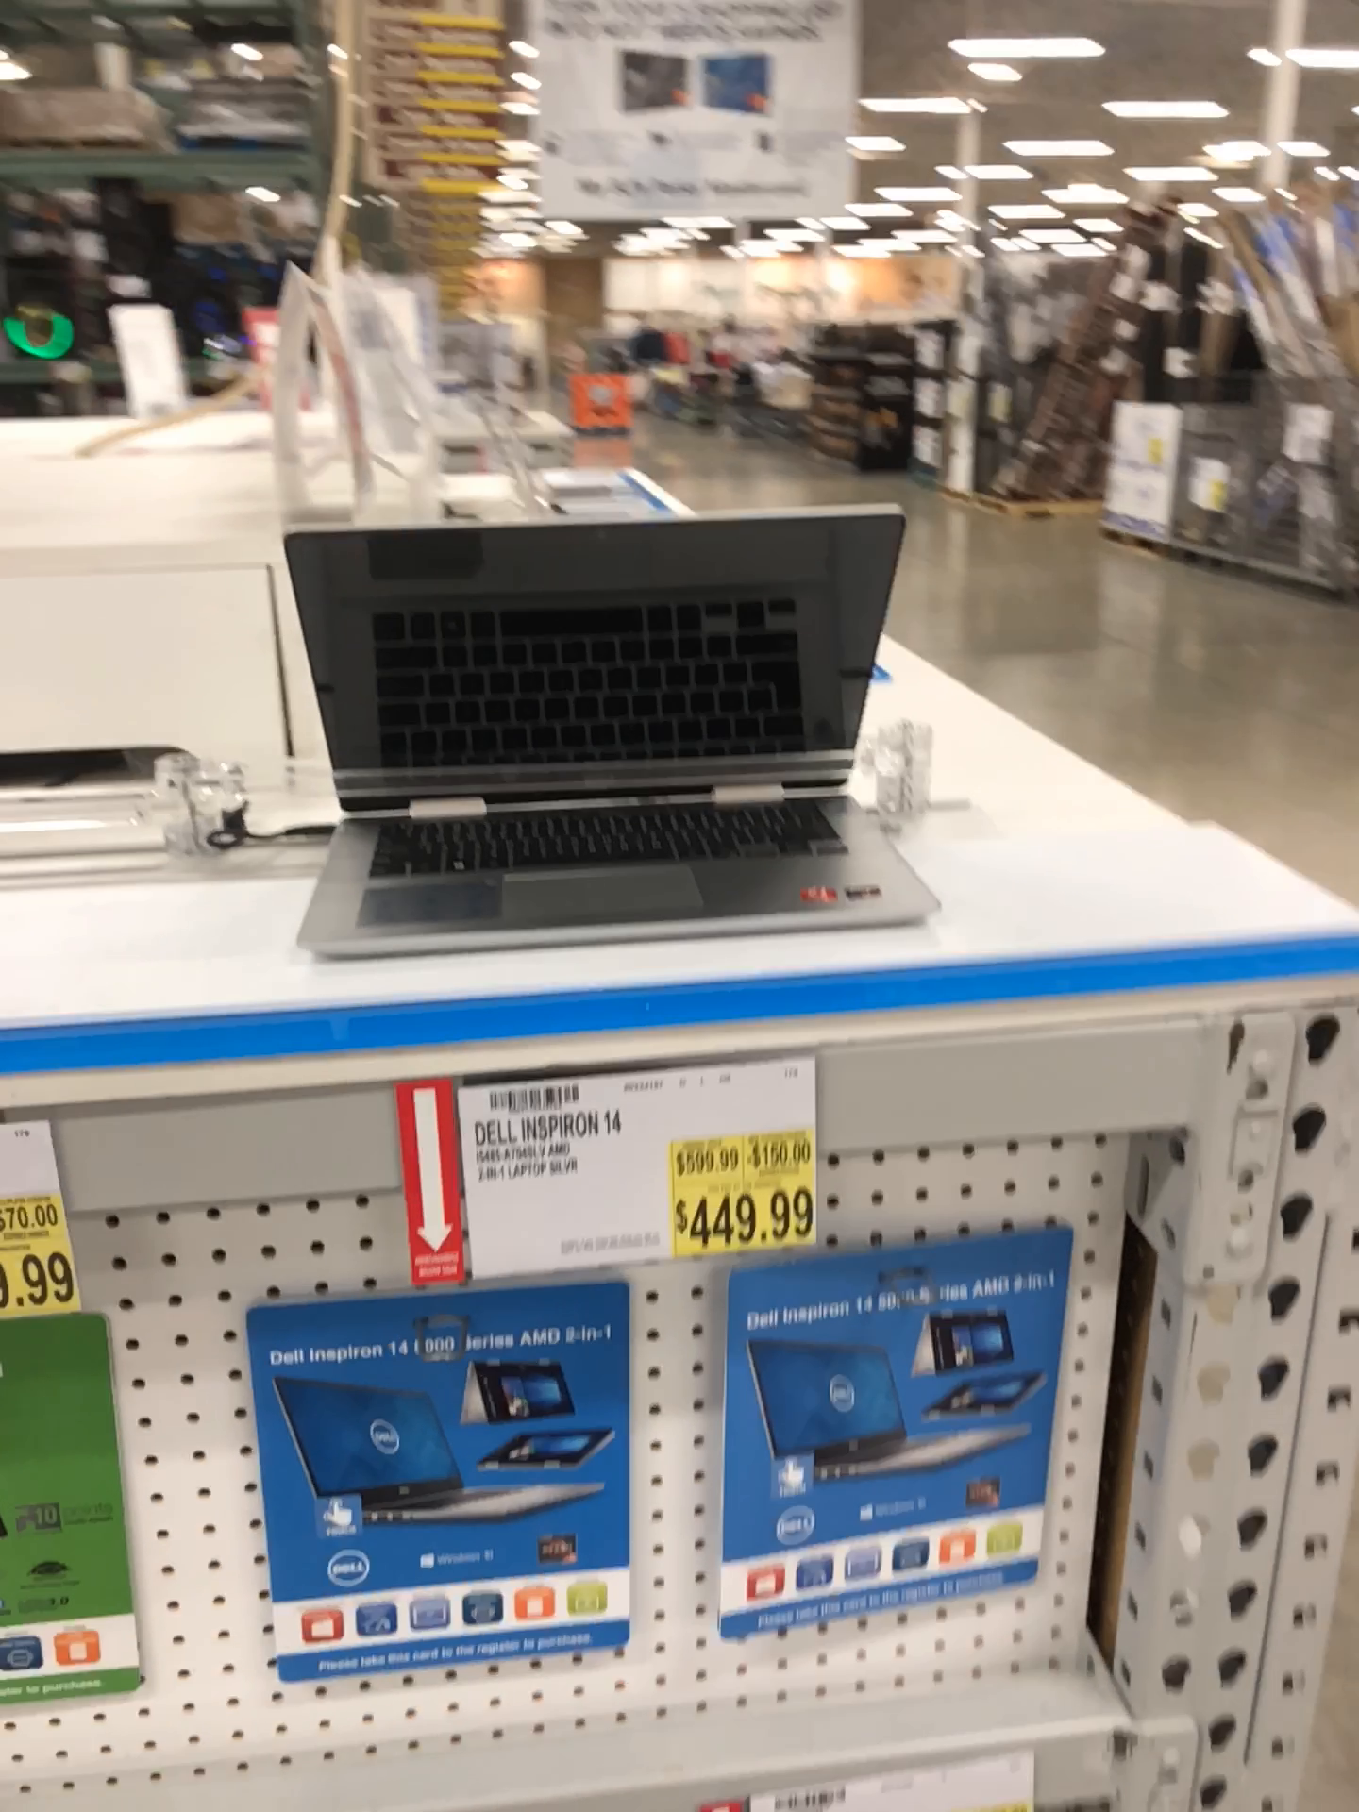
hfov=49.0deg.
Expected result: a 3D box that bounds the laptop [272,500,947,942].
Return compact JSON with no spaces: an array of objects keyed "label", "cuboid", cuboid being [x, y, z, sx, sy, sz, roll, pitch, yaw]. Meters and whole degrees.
[{"label":"laptop","cuboid":[-0.041,-0.112,0.807,0.307,0.183,0.211,-3,20,-5]}]
